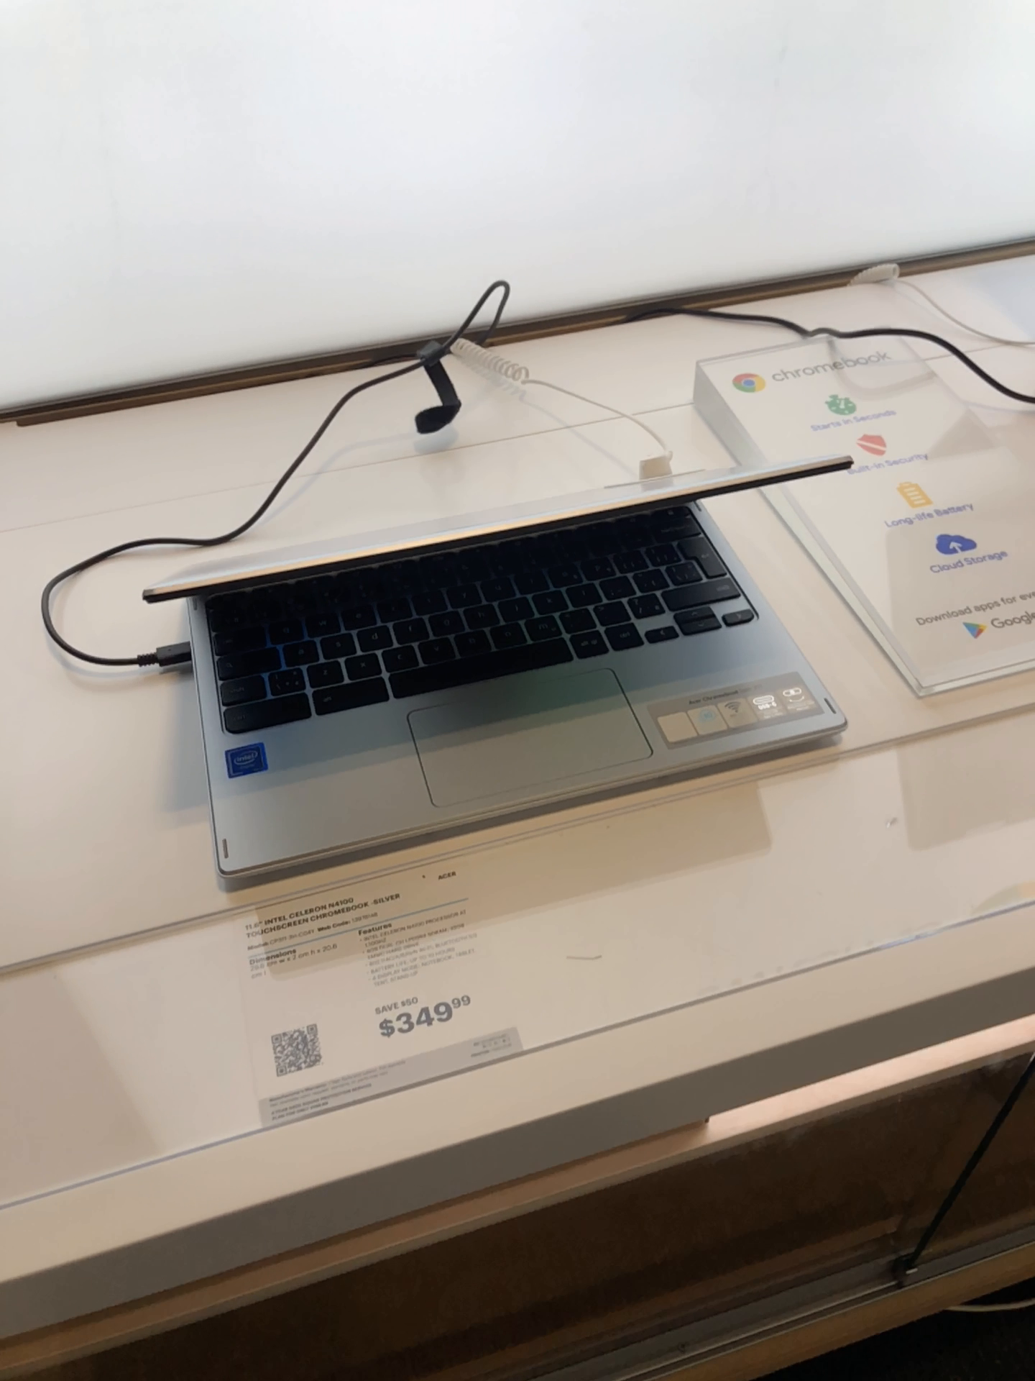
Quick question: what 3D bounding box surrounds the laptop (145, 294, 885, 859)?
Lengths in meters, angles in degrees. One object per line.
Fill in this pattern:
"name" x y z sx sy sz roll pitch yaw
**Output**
"laptop" -0.013 -0.066 0.536 0.279 0.123 0.192 -12 46 -11
